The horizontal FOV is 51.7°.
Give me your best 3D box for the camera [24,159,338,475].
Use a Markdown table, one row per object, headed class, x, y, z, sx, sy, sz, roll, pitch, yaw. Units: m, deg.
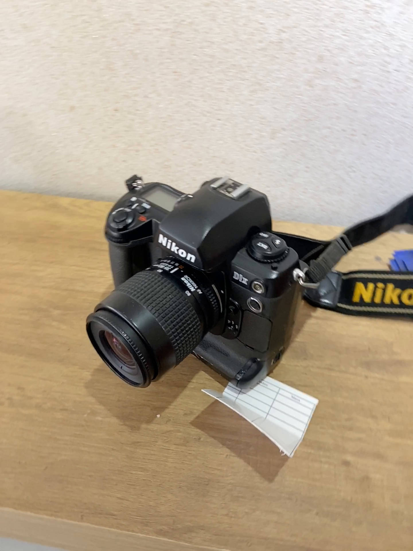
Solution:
| class | x | y | z | sx | sy | sz | roll | pitch | yaw |
| --- | --- | --- | --- | --- | --- | --- | --- | --- | --- |
| camera | -0.012 | 0.019 | 0.340 | 0.150 | 0.129 | 0.161 | 27 | 50 | 26 |
